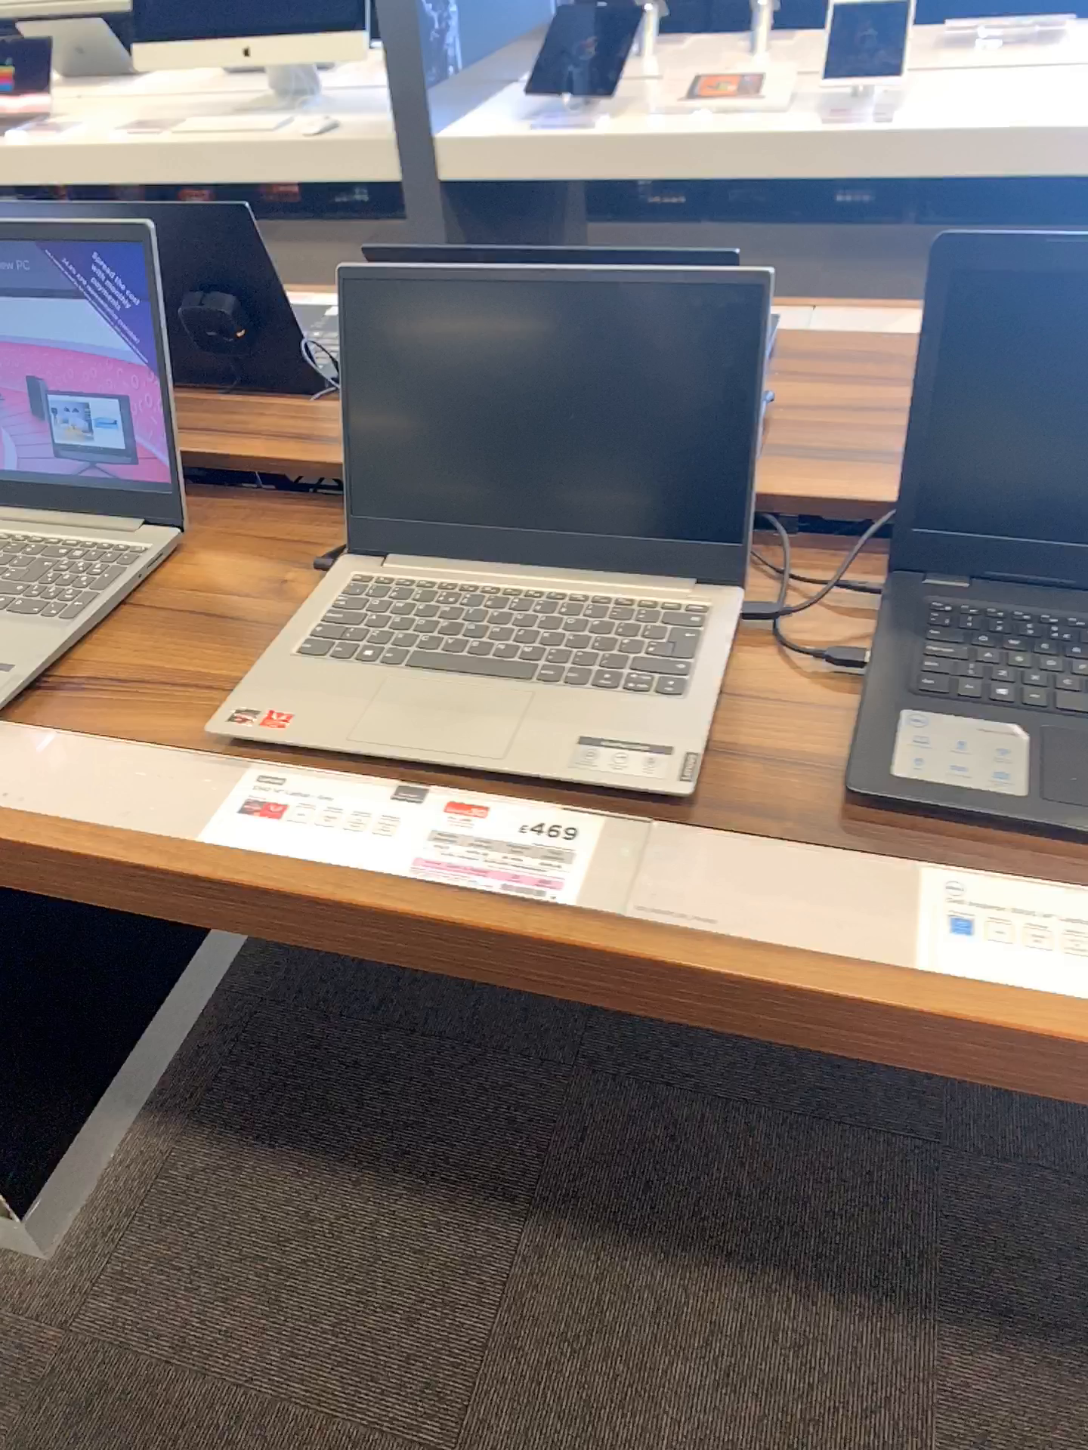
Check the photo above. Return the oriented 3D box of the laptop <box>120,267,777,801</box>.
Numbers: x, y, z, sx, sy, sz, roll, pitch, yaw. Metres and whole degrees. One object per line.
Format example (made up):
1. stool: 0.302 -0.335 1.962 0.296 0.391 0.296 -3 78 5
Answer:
1. laptop: -0.030 -0.146 0.727 0.316 0.199 0.296 7 40 16
